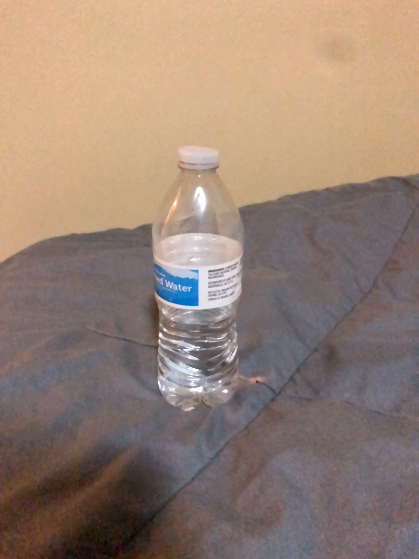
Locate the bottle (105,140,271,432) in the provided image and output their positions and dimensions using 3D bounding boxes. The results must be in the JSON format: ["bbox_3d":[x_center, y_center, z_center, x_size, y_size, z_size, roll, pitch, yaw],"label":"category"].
[{"bbox_3d":[-0.015,0.000,0.349,0.080,0.189,0.080,-1,23,0],"label":"bottle"}]
